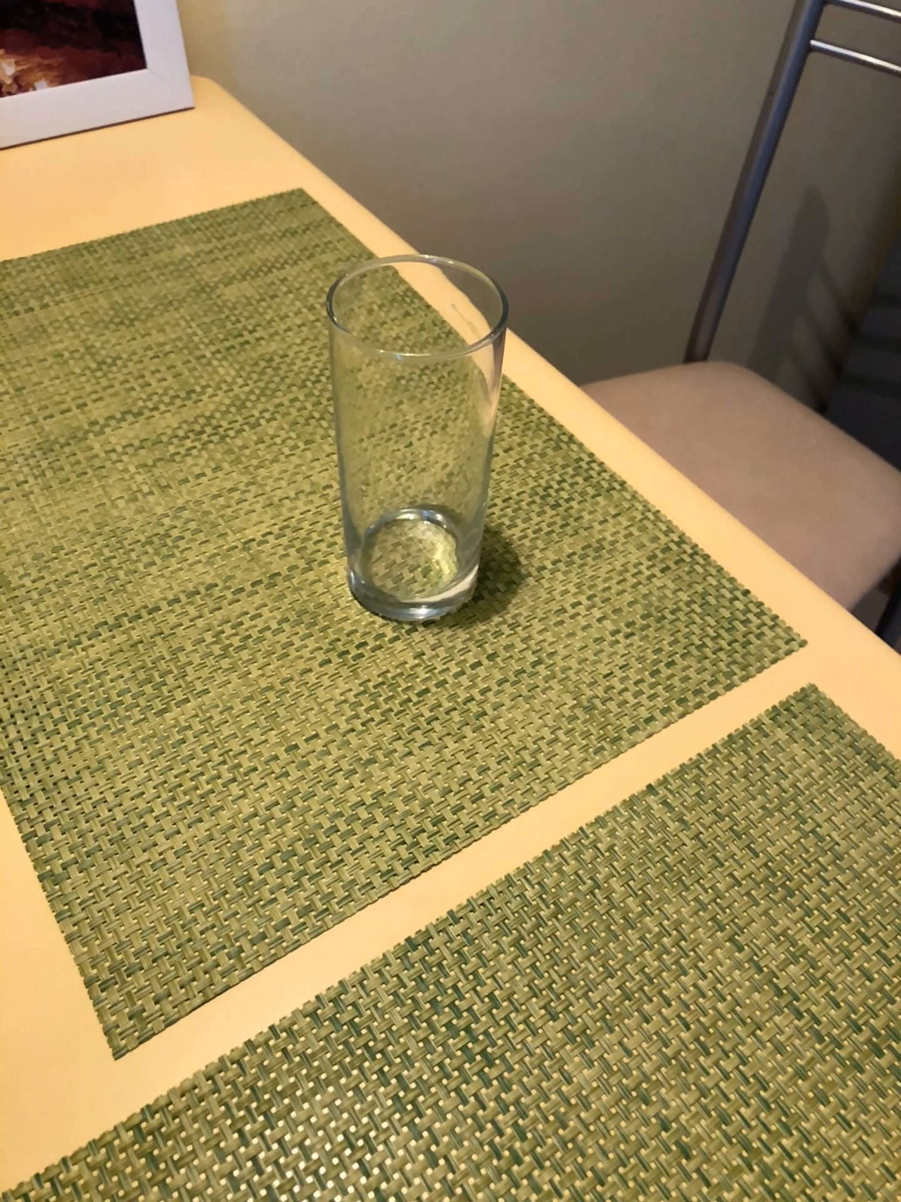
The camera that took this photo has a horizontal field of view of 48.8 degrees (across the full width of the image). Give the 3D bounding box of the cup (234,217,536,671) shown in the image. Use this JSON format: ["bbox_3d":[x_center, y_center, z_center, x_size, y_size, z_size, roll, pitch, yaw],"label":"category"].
[{"bbox_3d":[-0.025,-0.056,0.378,0.070,0.139,0.070,2,48,-2],"label":"cup"}]
